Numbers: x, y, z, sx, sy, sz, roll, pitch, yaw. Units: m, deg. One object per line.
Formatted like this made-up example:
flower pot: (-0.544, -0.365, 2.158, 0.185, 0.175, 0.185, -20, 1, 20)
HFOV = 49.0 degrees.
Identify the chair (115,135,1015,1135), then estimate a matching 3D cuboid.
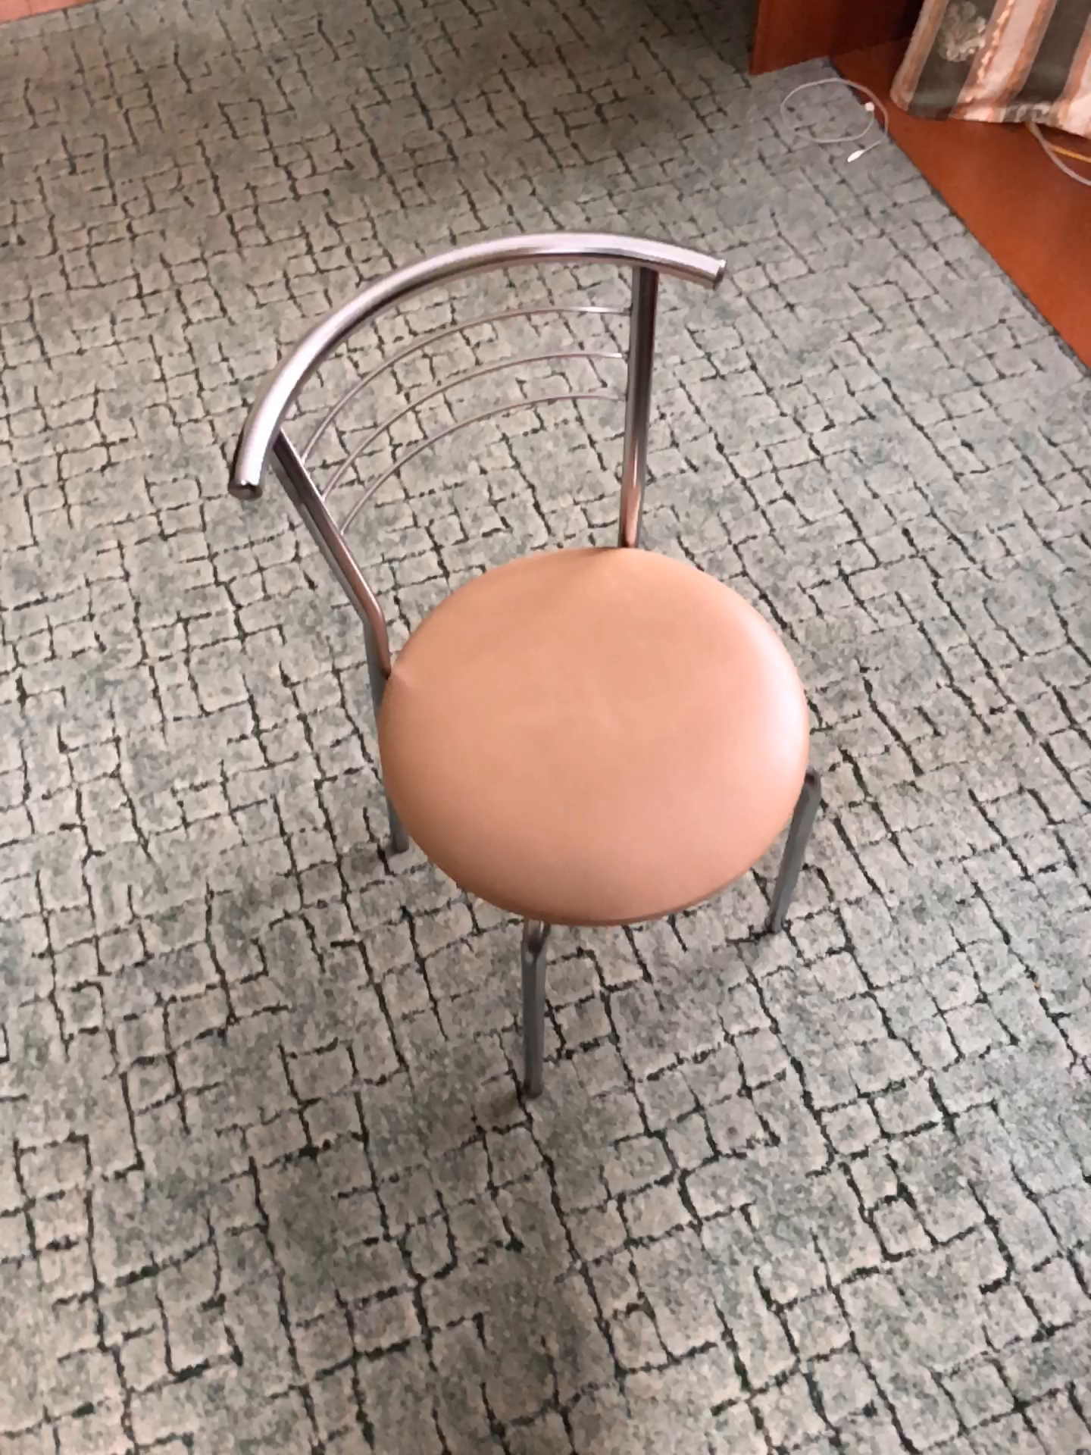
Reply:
chair: (0.010, -0.012, 1.166, 0.443, 0.805, 0.452, -30, 63, -15)
